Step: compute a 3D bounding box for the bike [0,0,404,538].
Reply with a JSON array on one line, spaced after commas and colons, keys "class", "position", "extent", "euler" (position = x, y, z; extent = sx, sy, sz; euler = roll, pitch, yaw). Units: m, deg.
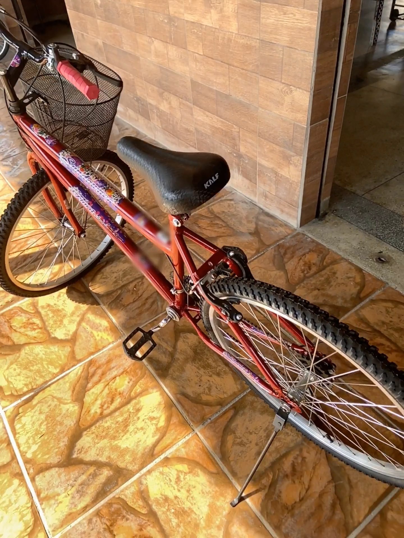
[{"class": "bike", "position": [-0.039, -0.078, 1.043], "extent": [0.550, 1.080, 1.414], "euler": [-27, 46, -21]}]
